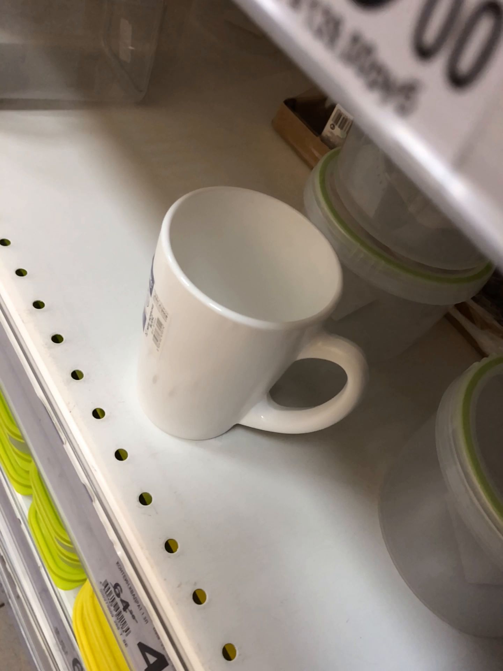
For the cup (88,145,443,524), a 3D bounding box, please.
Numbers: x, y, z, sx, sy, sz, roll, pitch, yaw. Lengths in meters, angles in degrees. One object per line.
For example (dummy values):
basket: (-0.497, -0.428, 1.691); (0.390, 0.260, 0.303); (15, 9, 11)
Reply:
cup: (-0.004, 0.000, 0.264); (0.120, 0.107, 0.079); (45, 51, 15)
